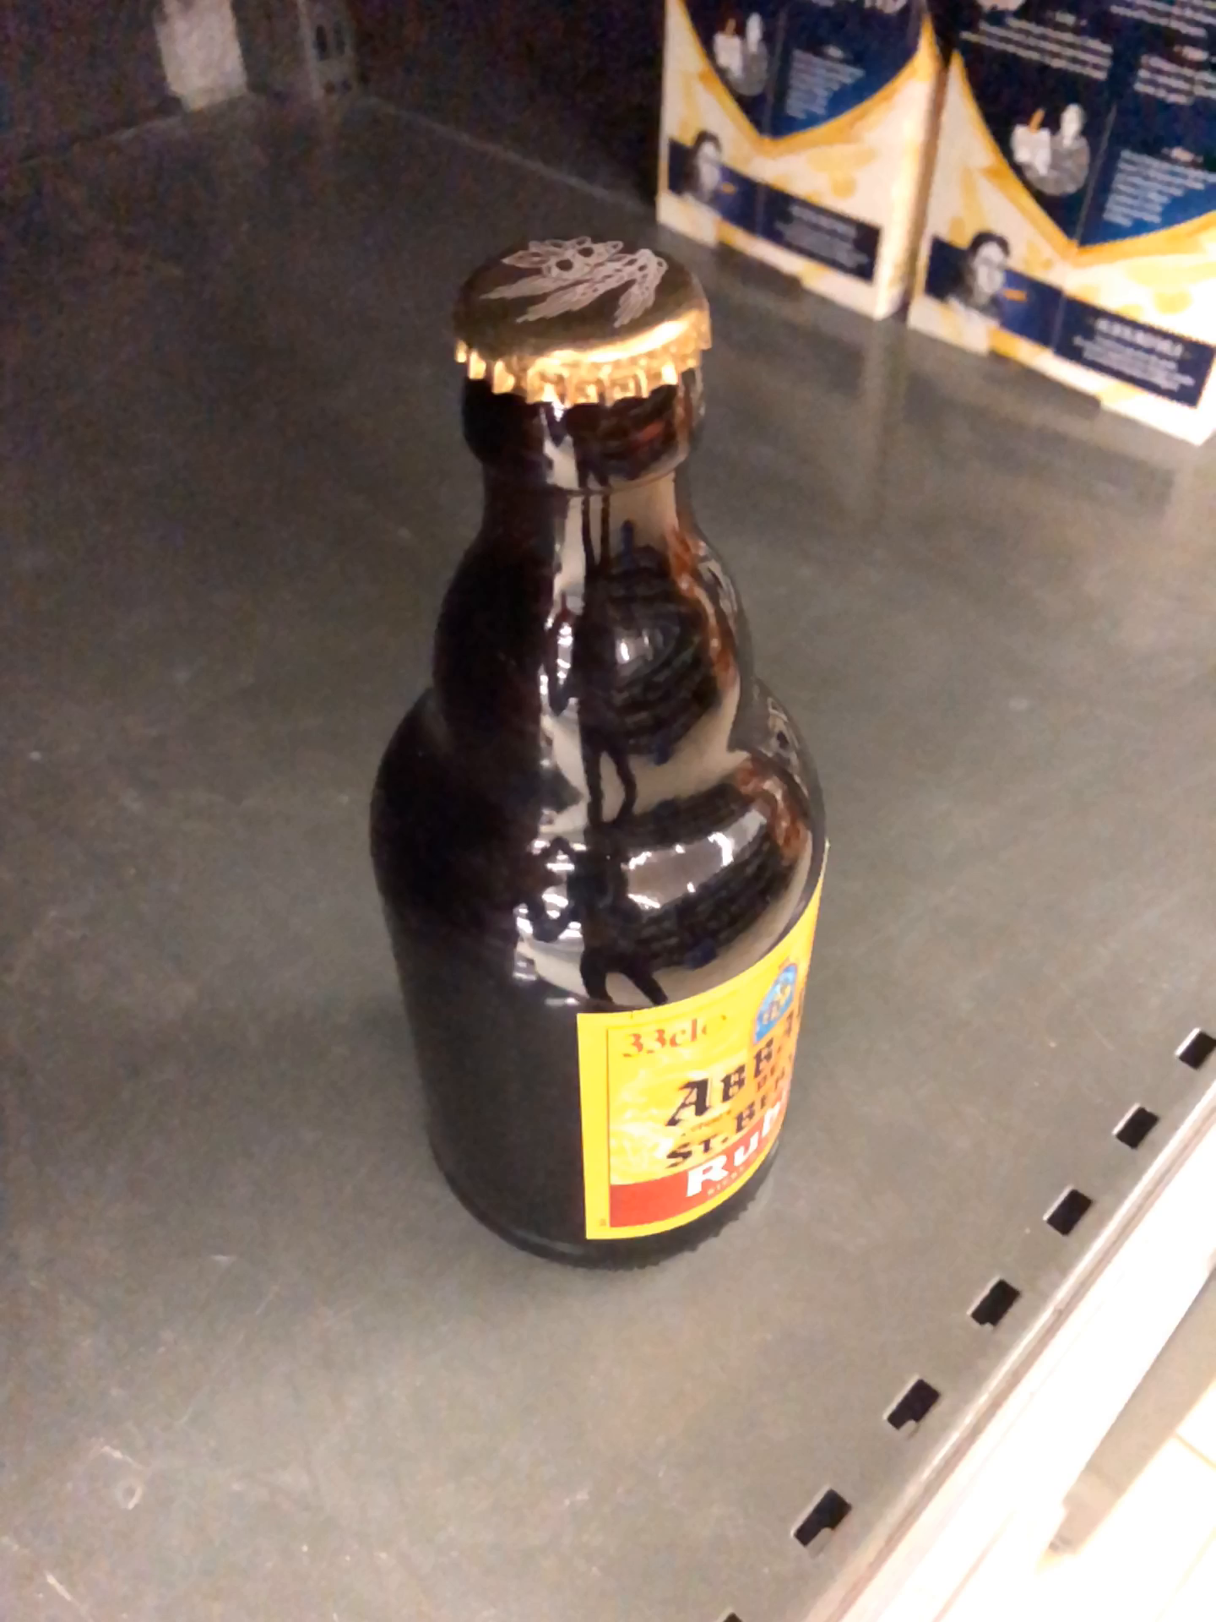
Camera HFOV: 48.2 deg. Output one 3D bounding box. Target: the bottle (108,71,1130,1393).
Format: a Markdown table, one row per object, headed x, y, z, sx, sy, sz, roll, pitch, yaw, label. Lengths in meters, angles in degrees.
| x | y | z | sx | sy | sz | roll | pitch | yaw | label |
| --- | --- | --- | --- | --- | --- | --- | --- | --- | --- |
| 0.004 | 0.000 | 0.202 | 0.070 | 0.169 | 0.080 | 35 | 56 | 29 | bottle |
